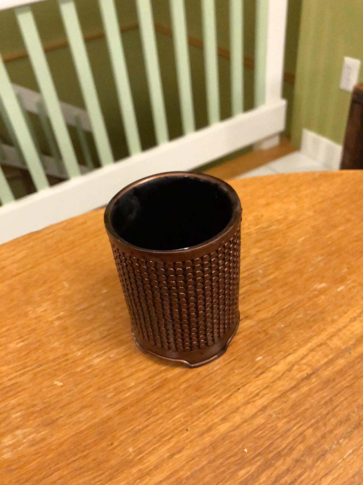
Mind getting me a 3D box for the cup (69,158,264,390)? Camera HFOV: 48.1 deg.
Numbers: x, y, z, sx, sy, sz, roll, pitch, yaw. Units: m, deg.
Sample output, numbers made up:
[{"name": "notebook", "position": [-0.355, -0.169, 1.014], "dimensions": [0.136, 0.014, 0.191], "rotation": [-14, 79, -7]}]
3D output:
[{"name": "cup", "position": [-0.004, 0.017, 0.250], "dimensions": [0.078, 0.097, 0.073], "rotation": [-4, 41, 3]}]
